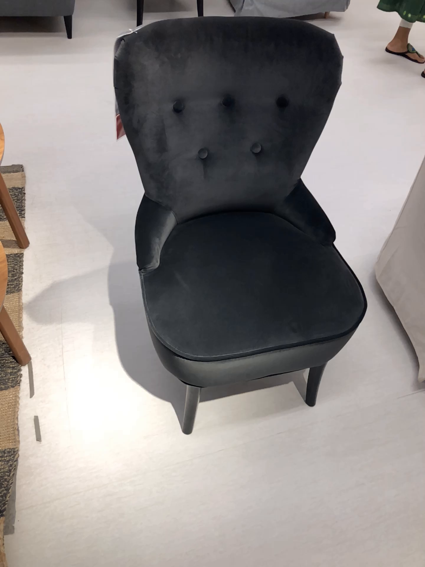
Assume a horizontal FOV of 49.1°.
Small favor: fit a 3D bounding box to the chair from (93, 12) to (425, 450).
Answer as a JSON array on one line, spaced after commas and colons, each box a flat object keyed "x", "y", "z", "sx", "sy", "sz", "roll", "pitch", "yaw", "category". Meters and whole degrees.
[{"x": 0.072, "y": -0.140, "z": 1.261, "sx": 0.600, "sy": 0.776, "sz": 0.794, "roll": -10, "pitch": 54, "yaw": -15, "category": "chair"}]
